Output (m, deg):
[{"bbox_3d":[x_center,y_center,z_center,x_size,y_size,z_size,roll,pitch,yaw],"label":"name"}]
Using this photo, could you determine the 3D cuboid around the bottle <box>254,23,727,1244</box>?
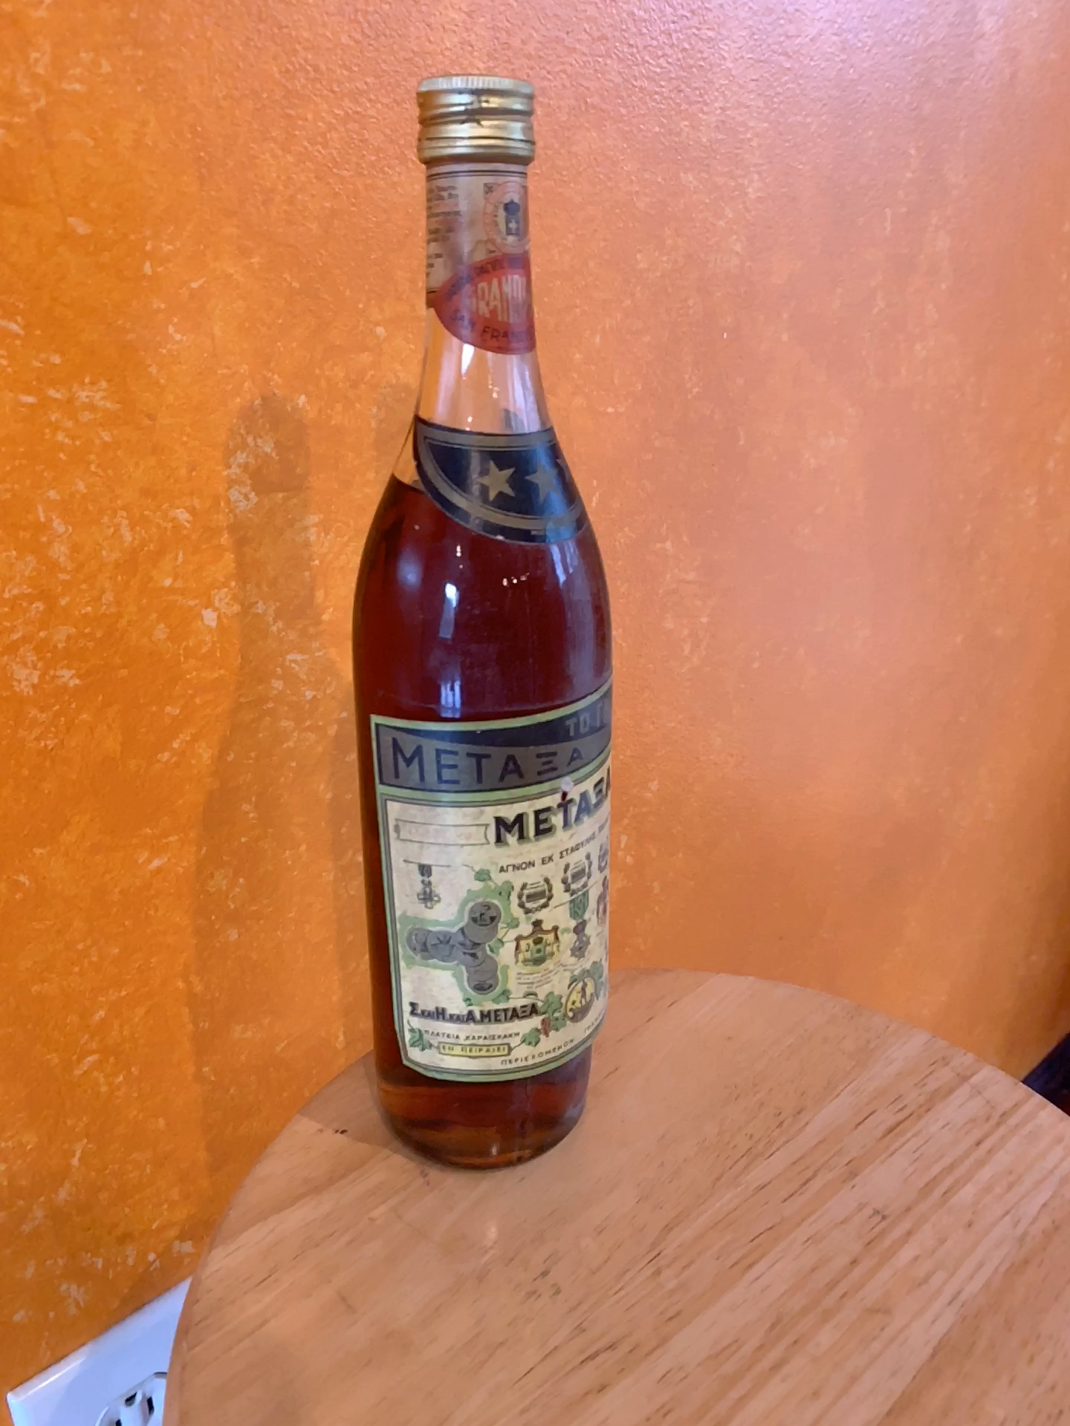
[{"bbox_3d":[-0.015,-0.007,0.305,0.080,0.299,0.070,-17,29,-38],"label":"bottle"}]
